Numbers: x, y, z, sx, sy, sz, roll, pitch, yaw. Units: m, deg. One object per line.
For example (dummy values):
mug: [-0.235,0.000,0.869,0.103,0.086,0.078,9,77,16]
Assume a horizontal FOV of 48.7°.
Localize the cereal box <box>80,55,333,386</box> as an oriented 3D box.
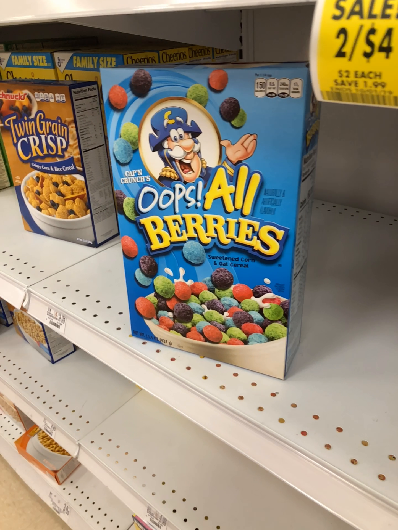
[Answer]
cereal box: [0.012,-0.046,0.479,0.220,0.319,0.080,10,31,25]
